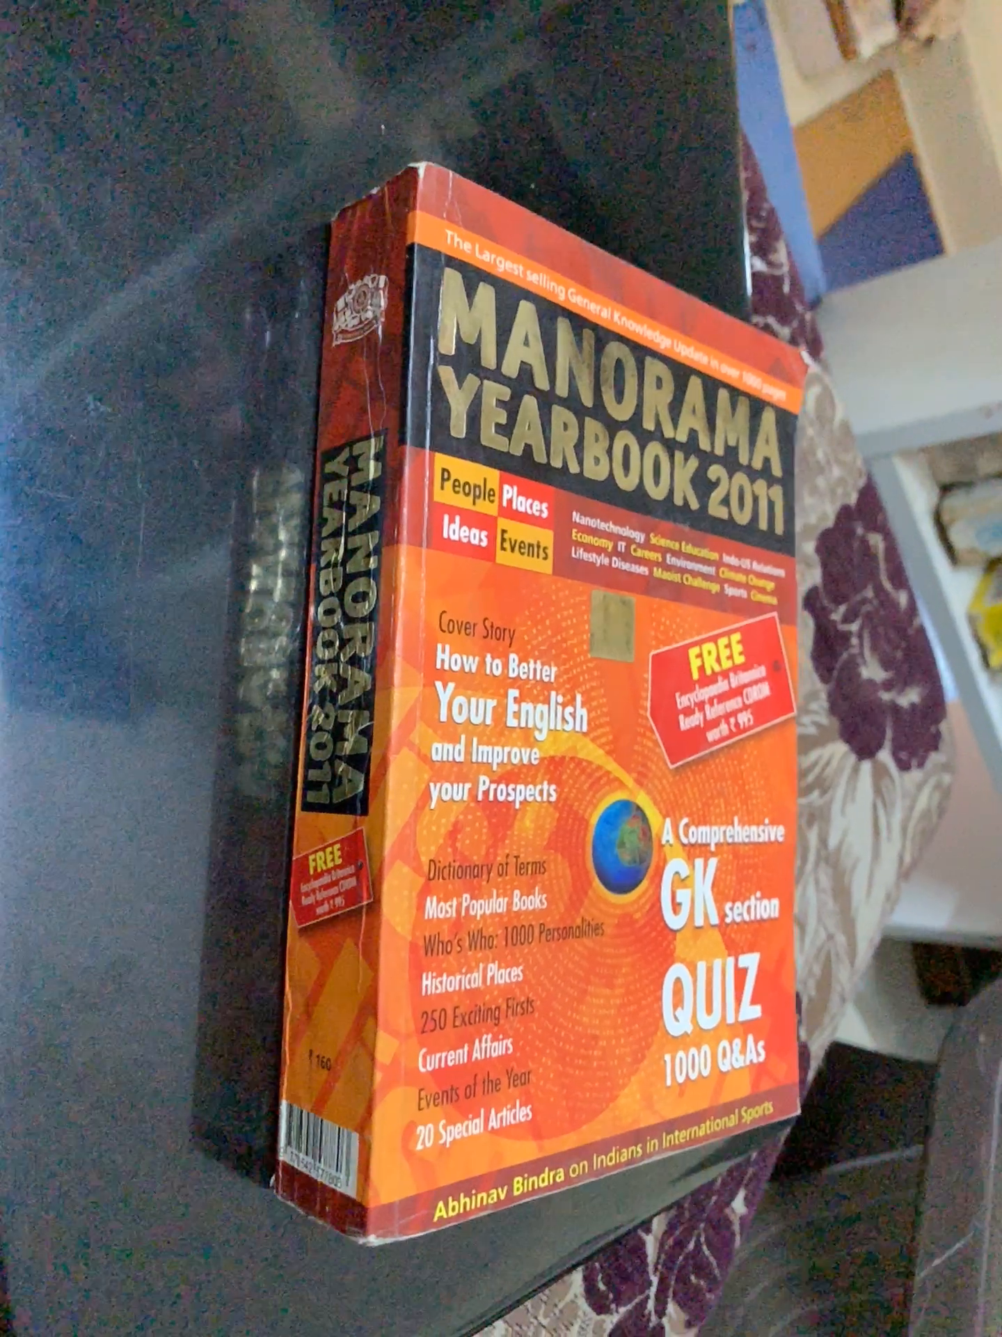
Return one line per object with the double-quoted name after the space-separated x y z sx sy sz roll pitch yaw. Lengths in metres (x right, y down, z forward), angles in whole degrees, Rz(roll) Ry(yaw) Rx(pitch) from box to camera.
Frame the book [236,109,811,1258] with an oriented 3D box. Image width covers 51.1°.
0.017 0.005 0.257 0.141 0.050 0.210 9 80 -44 "book"
